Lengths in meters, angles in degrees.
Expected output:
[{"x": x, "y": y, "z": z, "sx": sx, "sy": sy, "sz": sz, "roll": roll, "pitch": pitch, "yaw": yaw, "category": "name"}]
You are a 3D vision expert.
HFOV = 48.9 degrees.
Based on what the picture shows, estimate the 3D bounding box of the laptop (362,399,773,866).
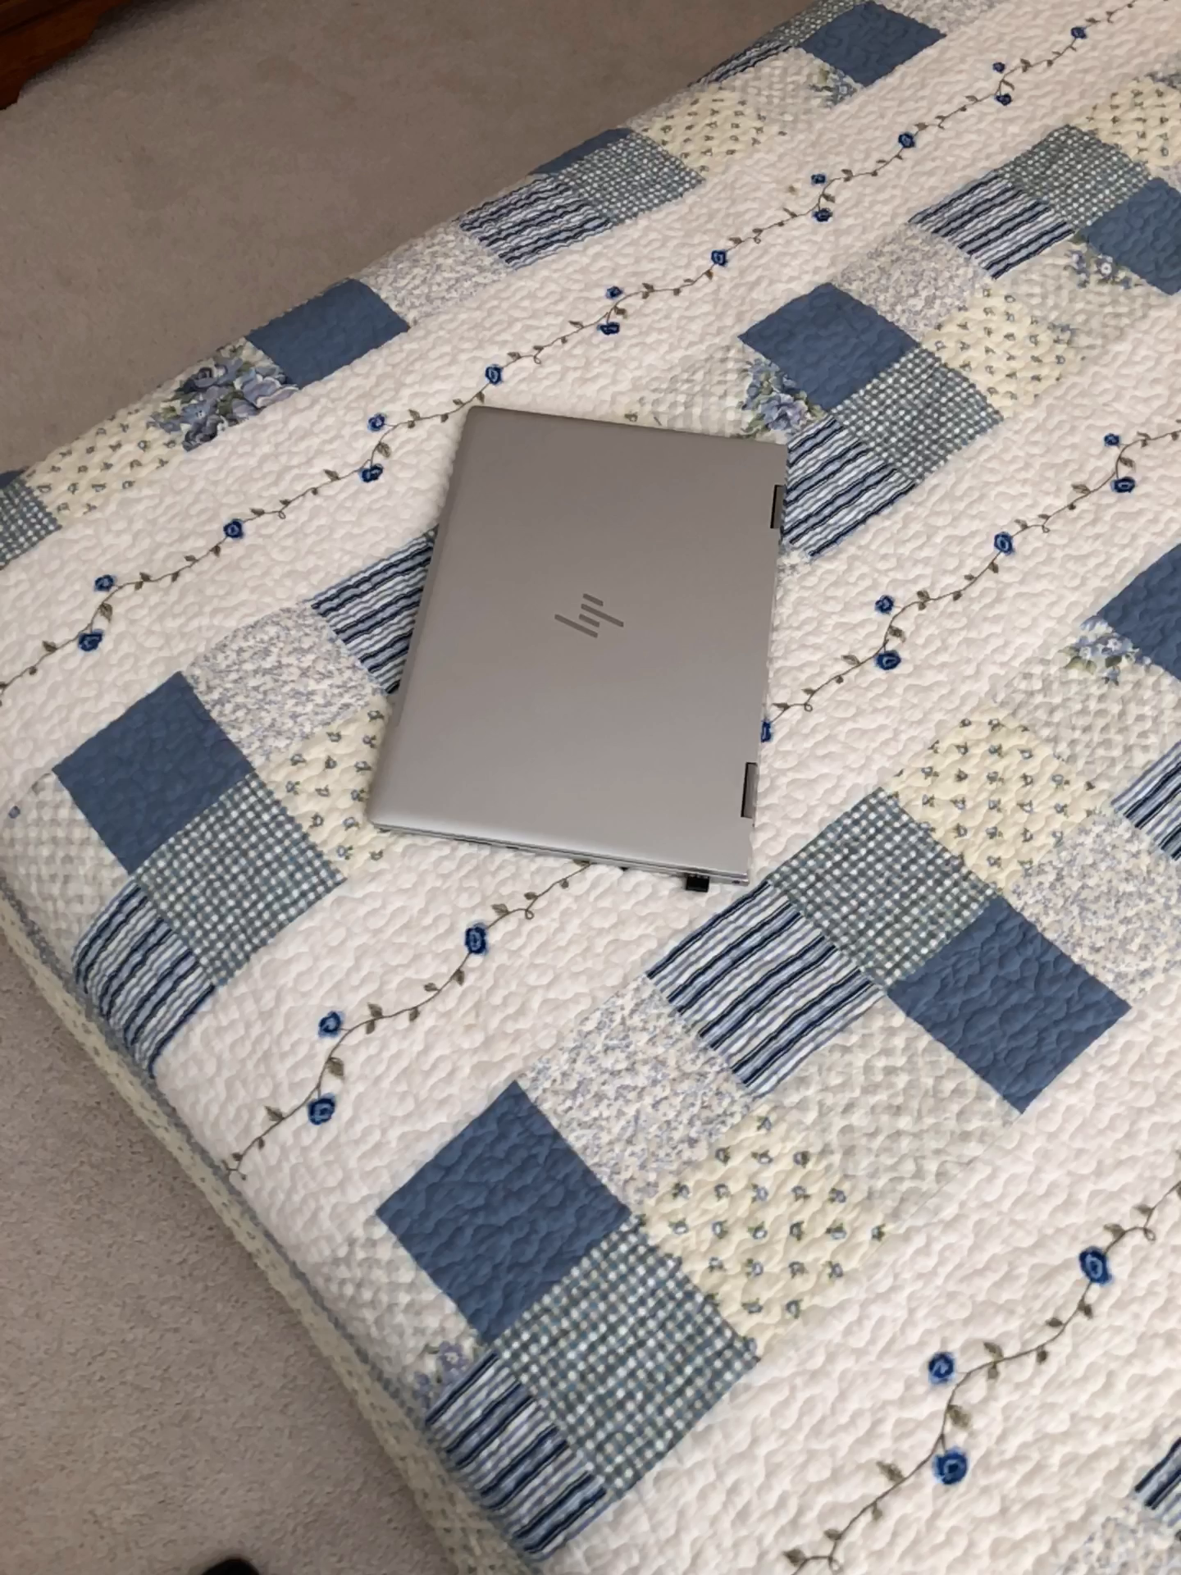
[{"x": -0.003, "y": -0.133, "z": 0.979, "sx": 0.256, "sy": 0.011, "sz": 0.386, "roll": 8, "pitch": 61, "yaw": 0, "category": "laptop"}]
